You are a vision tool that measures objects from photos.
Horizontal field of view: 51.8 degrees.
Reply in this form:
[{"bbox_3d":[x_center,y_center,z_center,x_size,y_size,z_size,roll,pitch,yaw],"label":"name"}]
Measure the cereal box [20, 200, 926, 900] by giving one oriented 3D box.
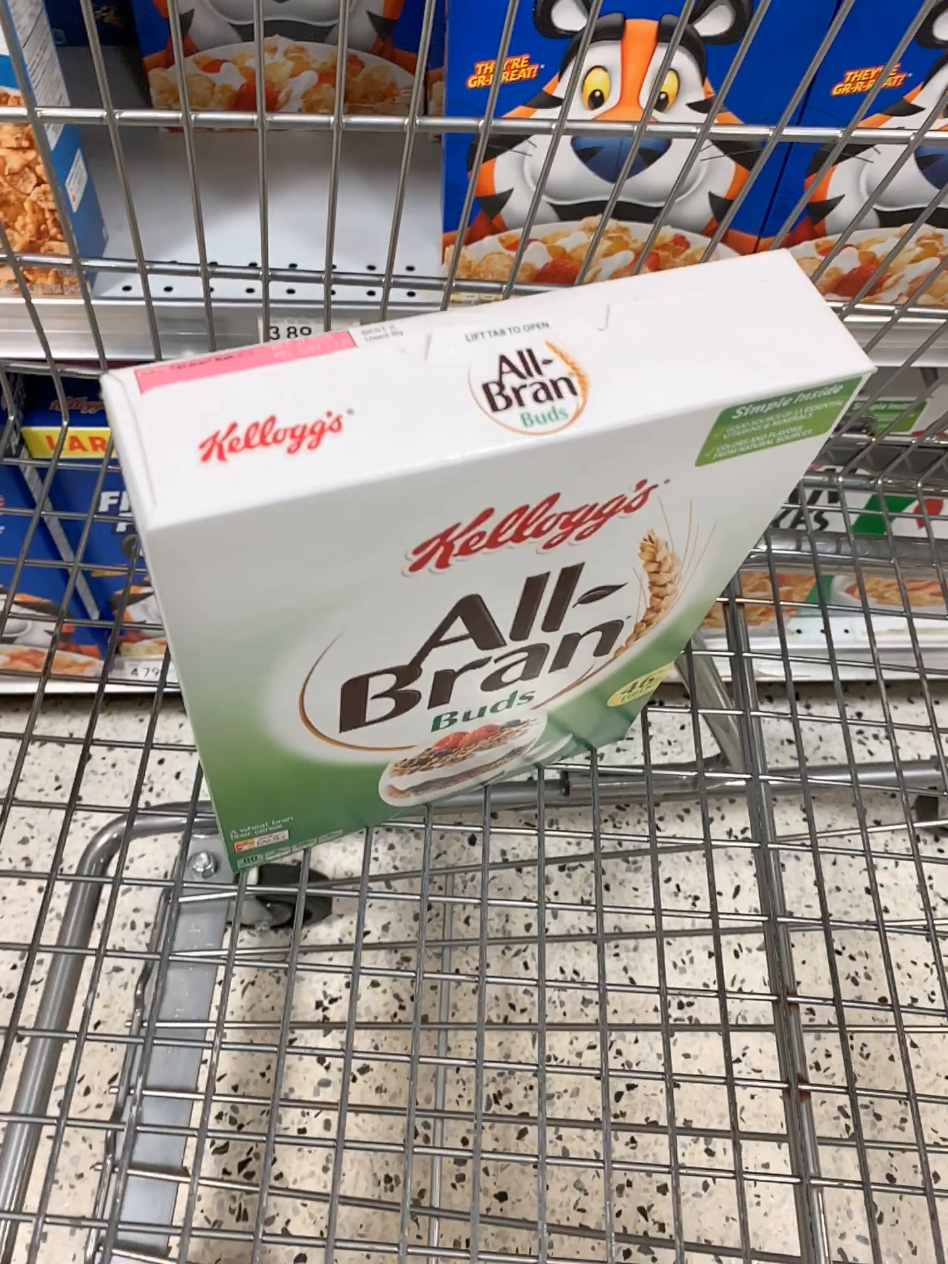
[{"bbox_3d":[-0.010,0.004,0.349,0.200,0.298,0.050,-16,66,-16],"label":"cereal box"}]
